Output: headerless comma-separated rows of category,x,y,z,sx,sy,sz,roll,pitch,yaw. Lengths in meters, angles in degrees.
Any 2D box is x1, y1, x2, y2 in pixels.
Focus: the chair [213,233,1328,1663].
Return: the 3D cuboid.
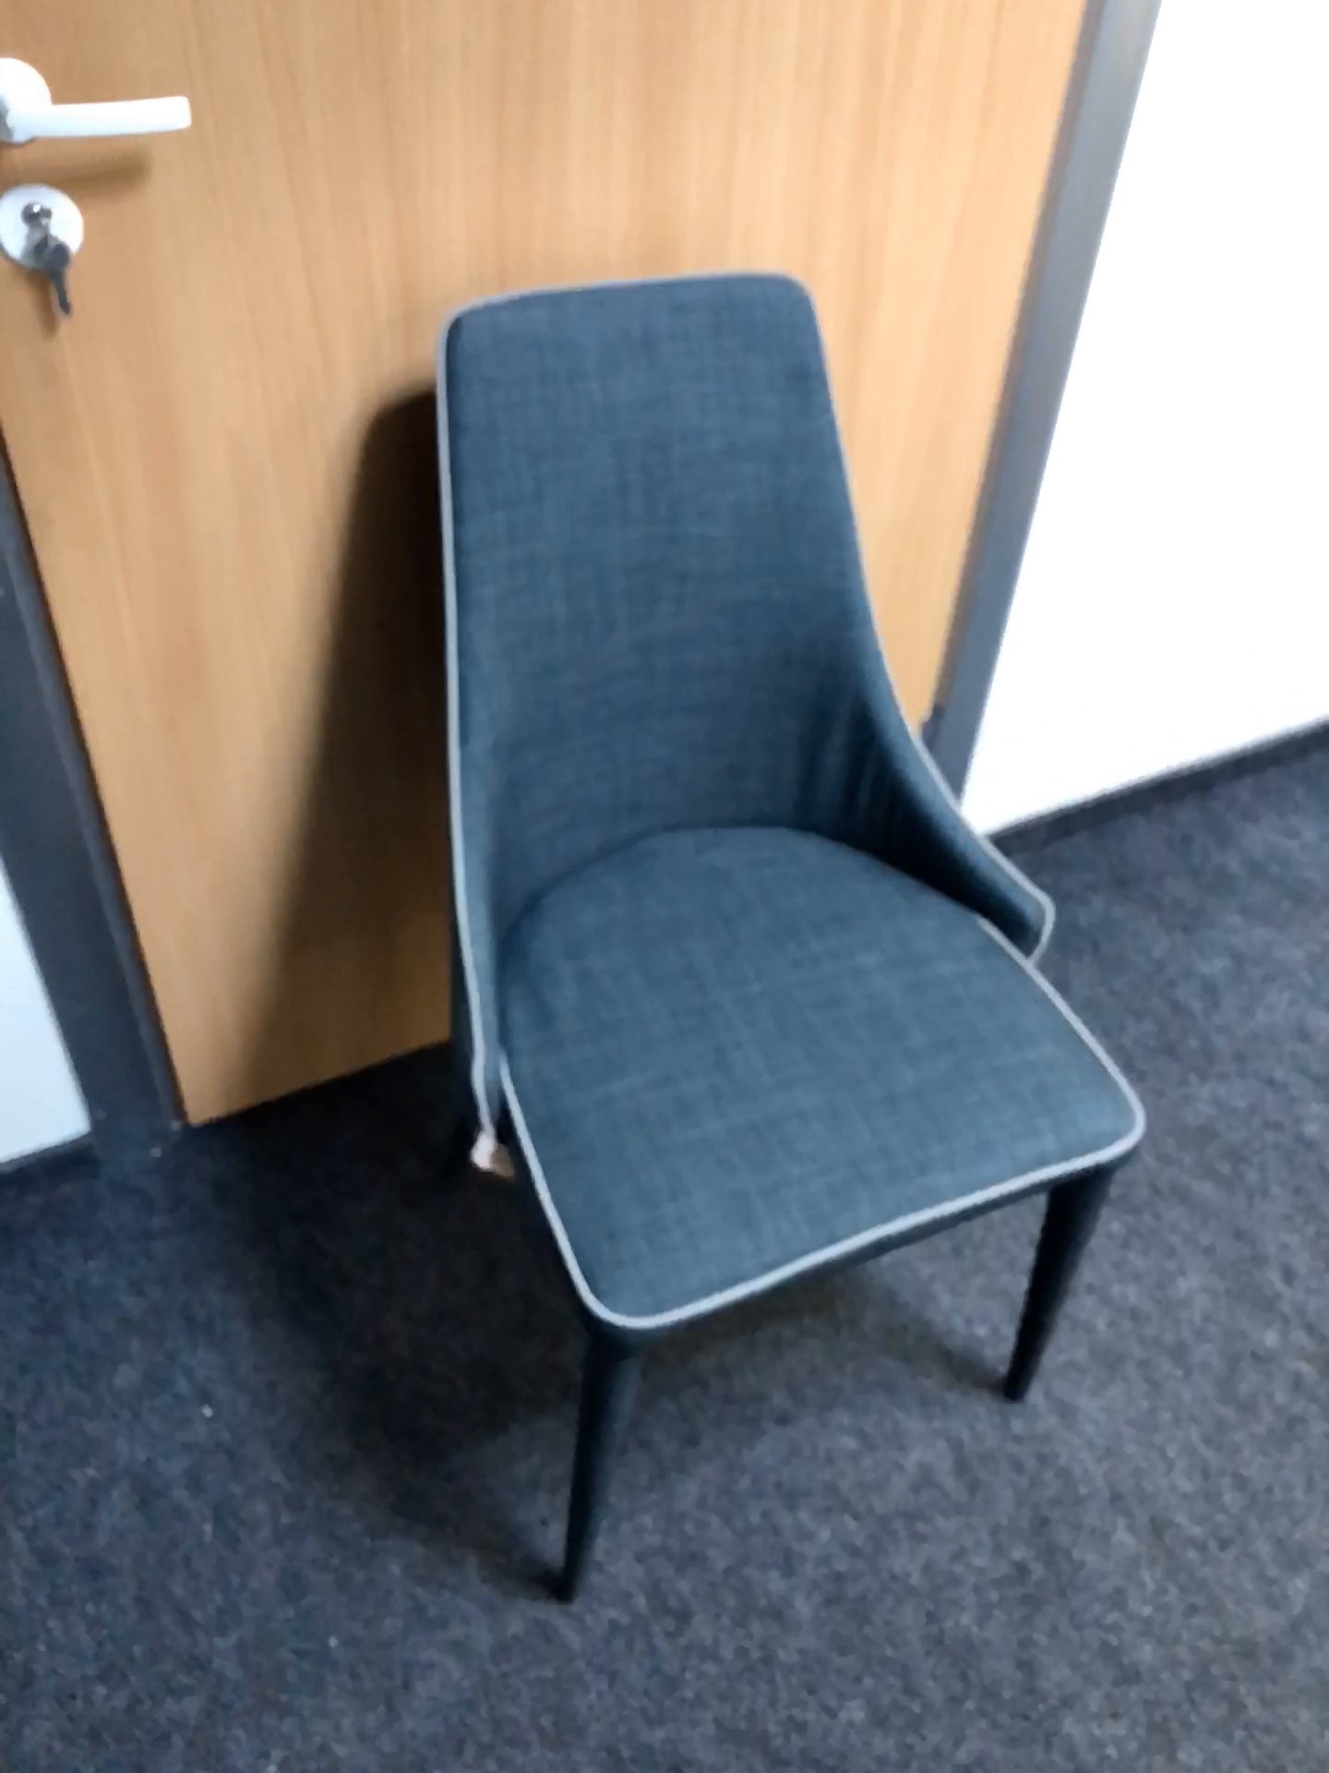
chair,0.034,0.047,1.193,0.521,0.845,0.643,-16,47,-20
